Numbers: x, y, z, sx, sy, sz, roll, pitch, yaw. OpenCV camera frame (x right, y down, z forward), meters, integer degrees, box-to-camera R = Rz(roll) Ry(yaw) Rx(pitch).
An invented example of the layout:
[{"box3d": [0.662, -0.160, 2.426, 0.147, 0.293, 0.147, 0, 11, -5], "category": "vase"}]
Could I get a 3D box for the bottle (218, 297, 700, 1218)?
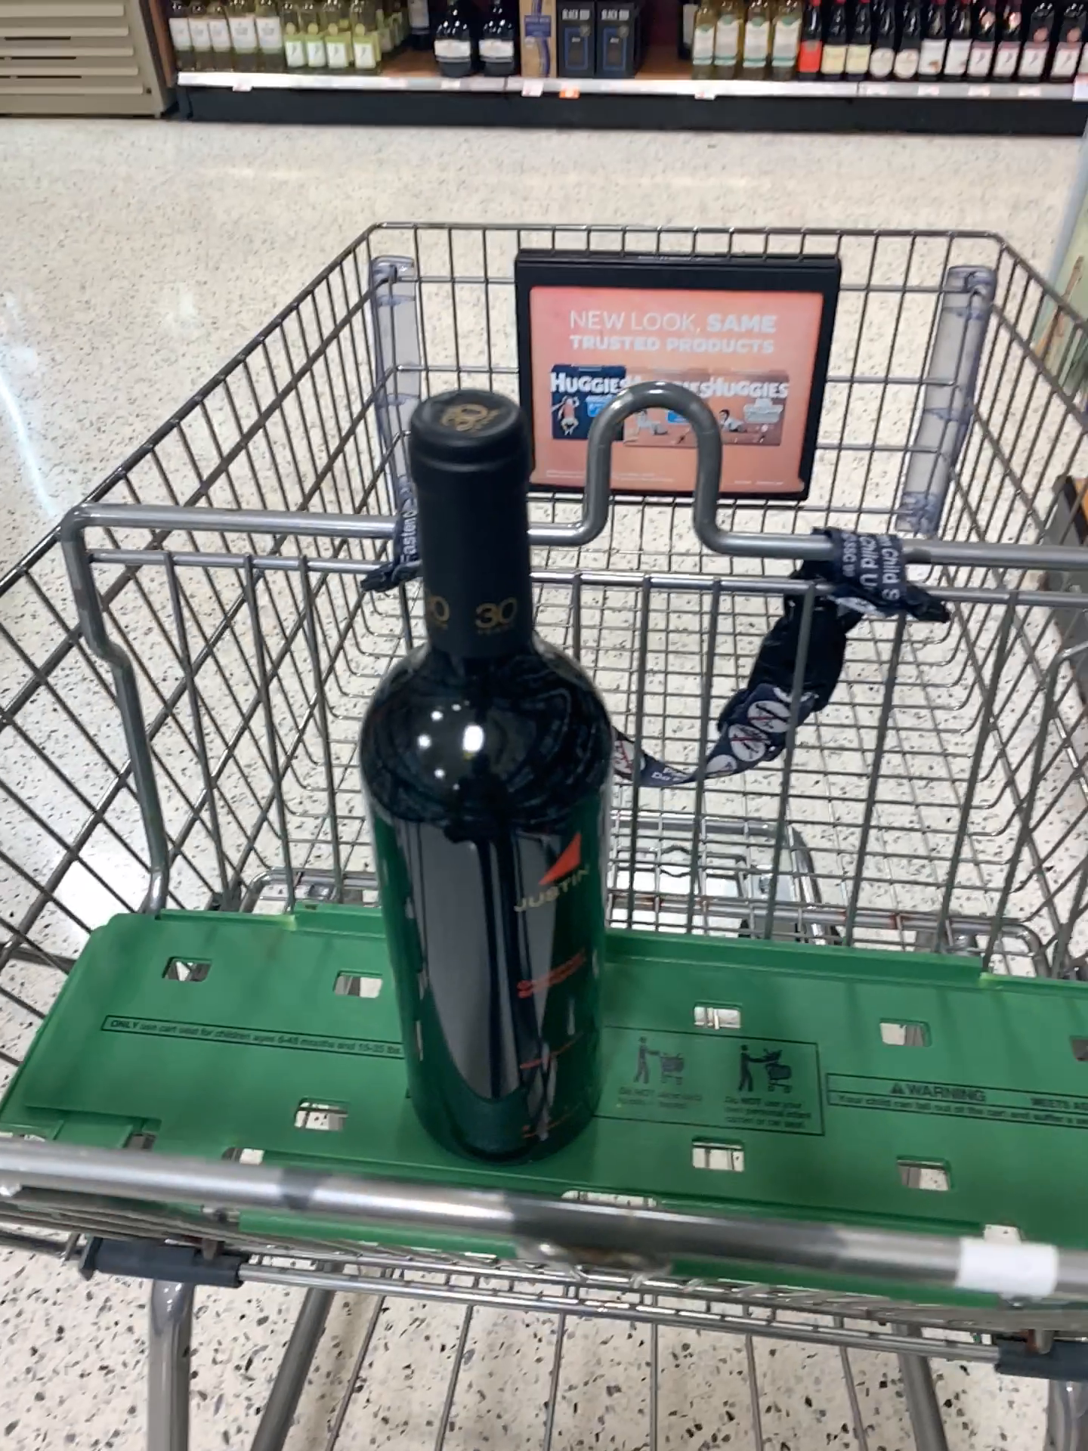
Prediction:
[{"box3d": [-0.017, 0.035, 0.353, 0.080, 0.297, 0.081, -1, 43, 1], "category": "bottle"}]
